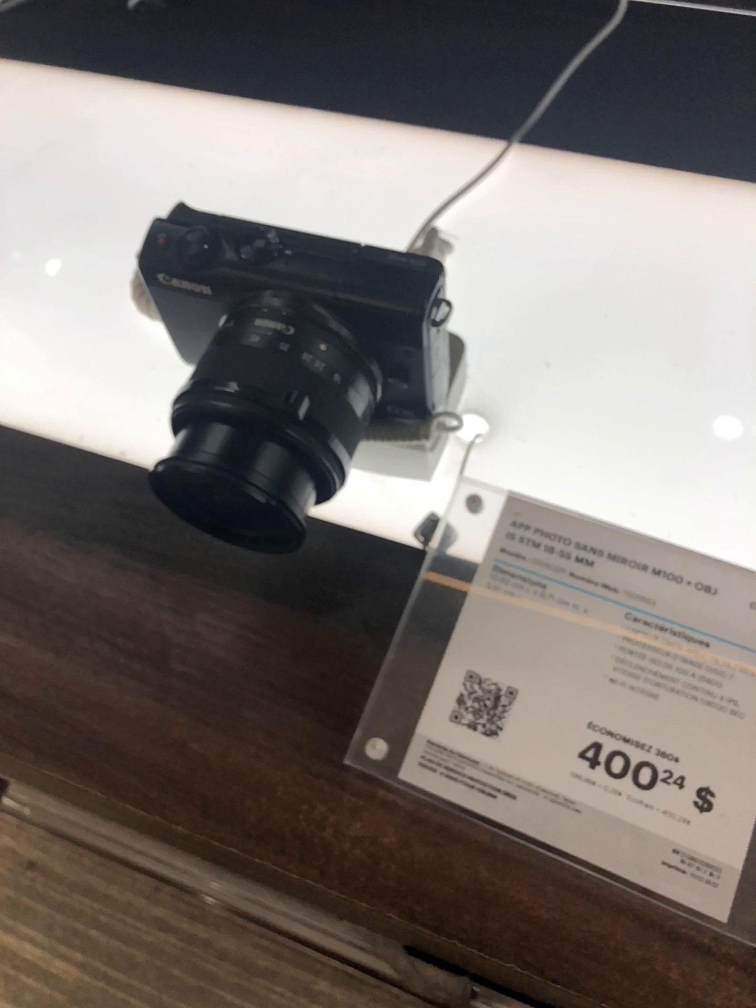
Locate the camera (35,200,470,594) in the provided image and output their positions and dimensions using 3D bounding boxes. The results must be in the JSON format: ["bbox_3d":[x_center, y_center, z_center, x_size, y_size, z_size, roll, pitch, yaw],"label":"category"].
[{"bbox_3d":[-0.036,-0.040,0.305,0.112,0.071,0.094,16,59,15],"label":"camera"}]
